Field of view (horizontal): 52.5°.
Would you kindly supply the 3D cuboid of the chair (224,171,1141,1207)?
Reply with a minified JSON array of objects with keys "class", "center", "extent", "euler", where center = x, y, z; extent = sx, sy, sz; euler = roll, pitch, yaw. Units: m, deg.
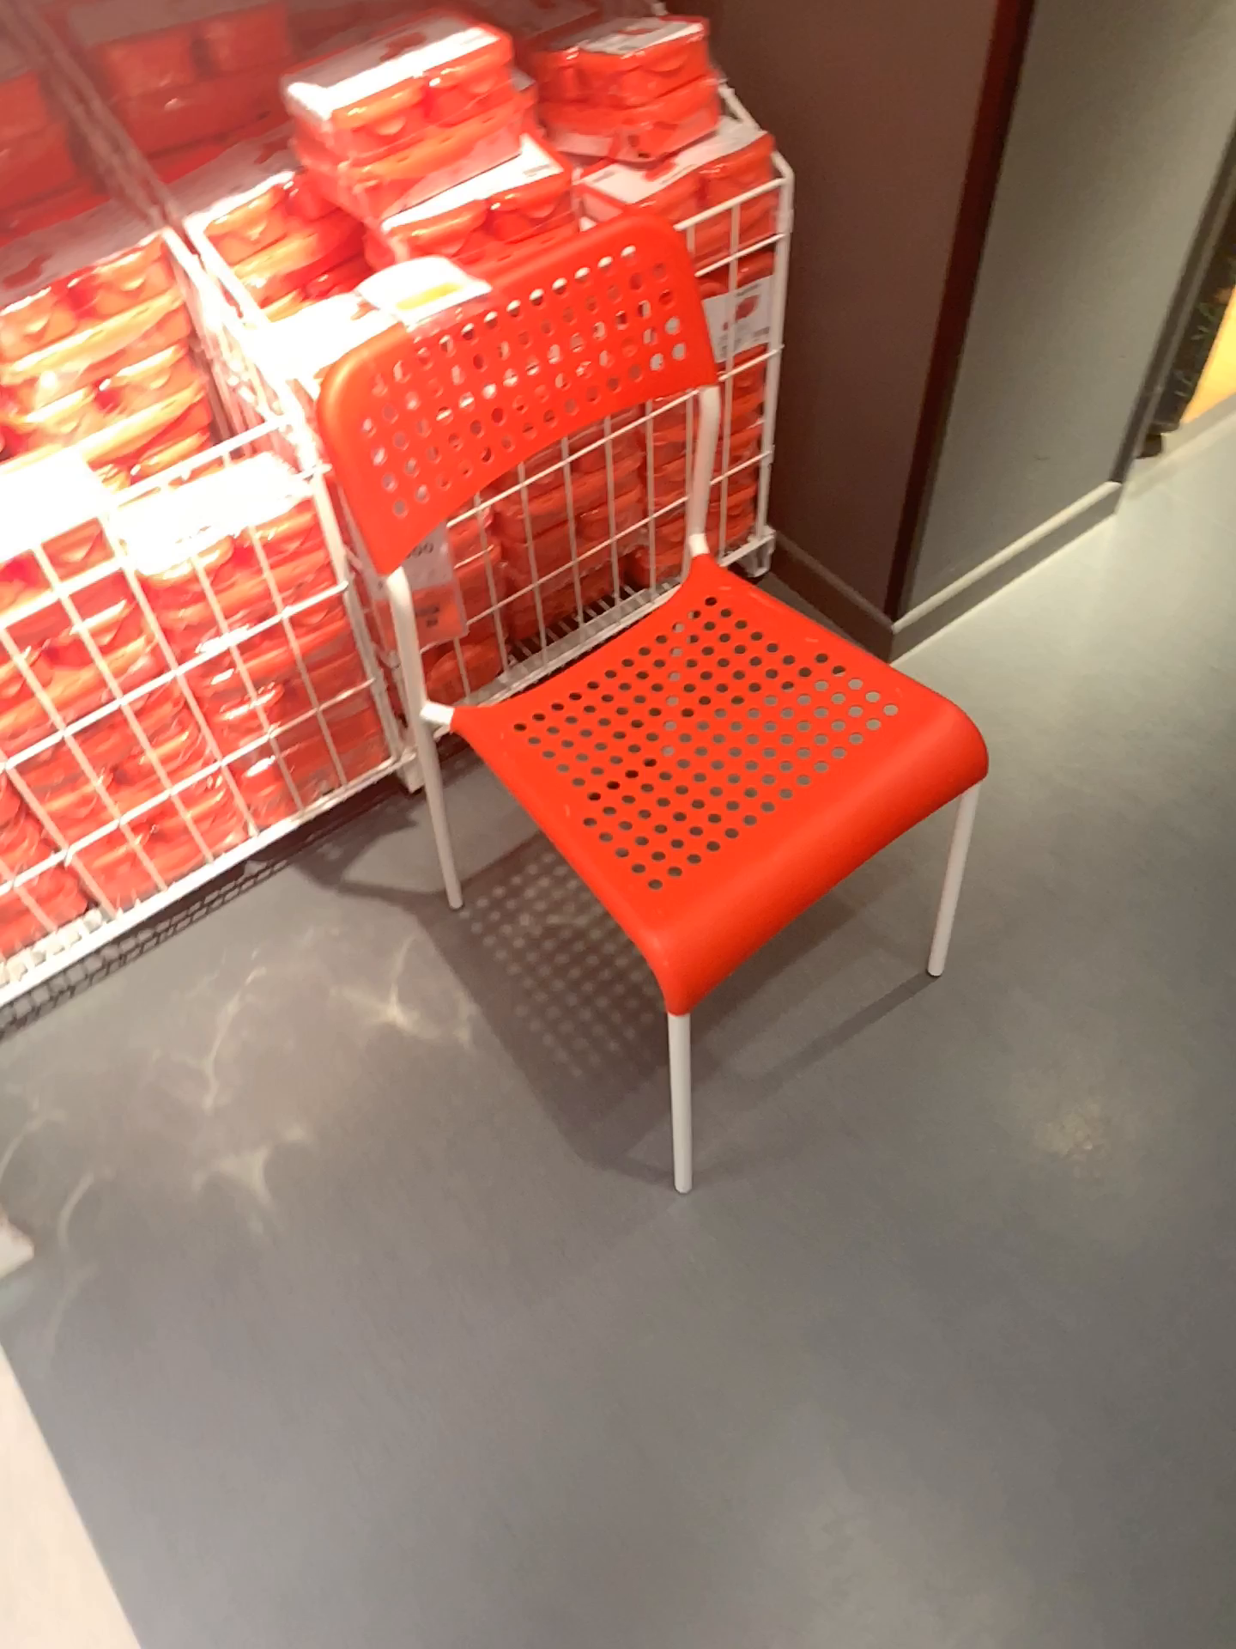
[{"class":"chair","center":[0.043,-0.079,1.117],"extent":[0.410,0.688,0.461],"euler":[-35,60,-20]}]
